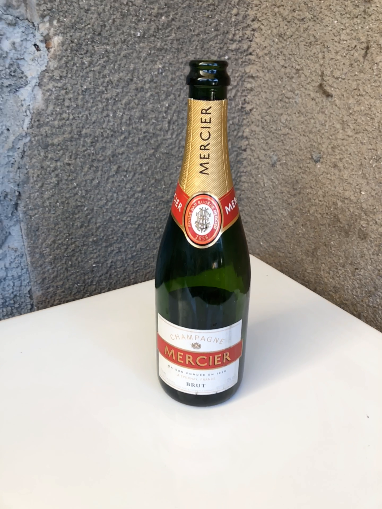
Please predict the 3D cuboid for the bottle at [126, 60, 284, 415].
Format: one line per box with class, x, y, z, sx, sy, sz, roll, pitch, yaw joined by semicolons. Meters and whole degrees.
bottle;0.012;-0.008;0.366;0.100;0.288;0.091;5;27;8
